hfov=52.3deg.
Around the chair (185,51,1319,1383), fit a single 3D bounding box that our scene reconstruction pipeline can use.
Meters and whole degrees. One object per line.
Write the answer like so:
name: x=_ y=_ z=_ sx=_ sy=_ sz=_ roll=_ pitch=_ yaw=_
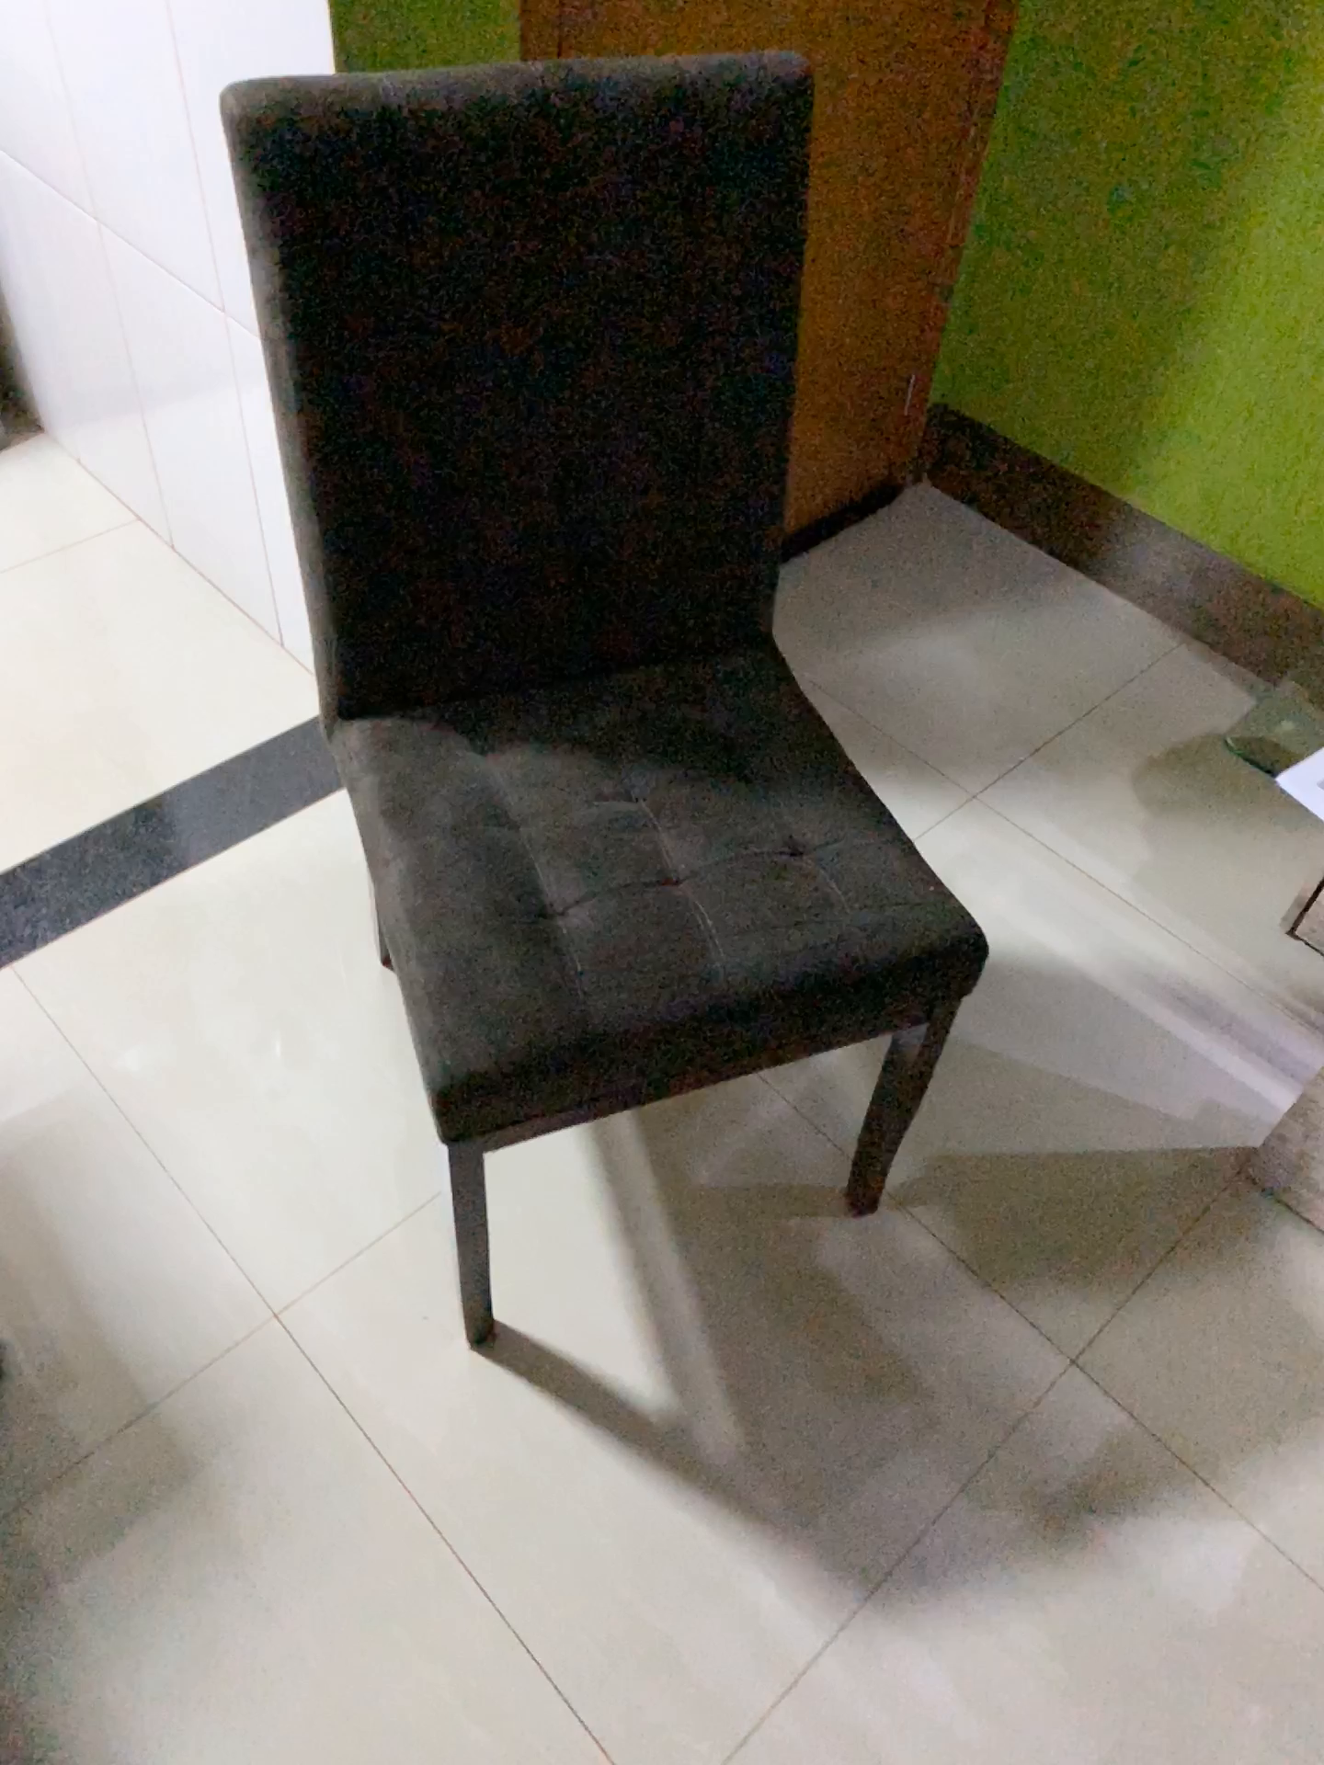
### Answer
chair: x=-0.016 y=-0.093 z=1.218 sx=0.541 sy=0.971 sz=0.574 roll=-14 pitch=51 yaw=-16
